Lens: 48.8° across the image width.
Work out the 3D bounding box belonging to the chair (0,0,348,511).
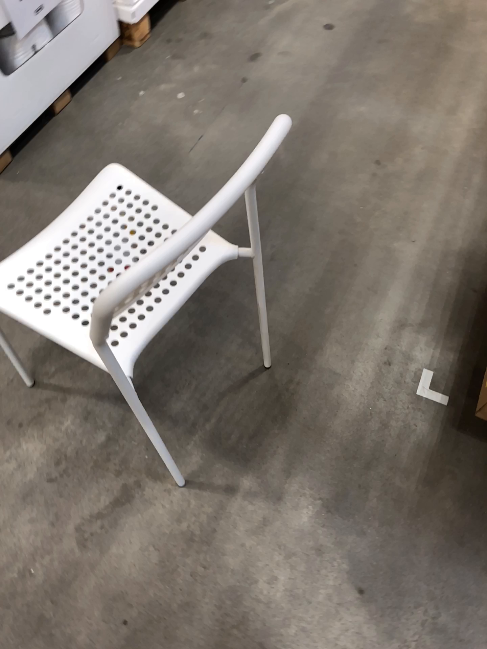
[{"bbox_3d":[-0.213,-0.088,0.955,0.510,0.699,0.460,33,65,17],"label":"chair"}]
